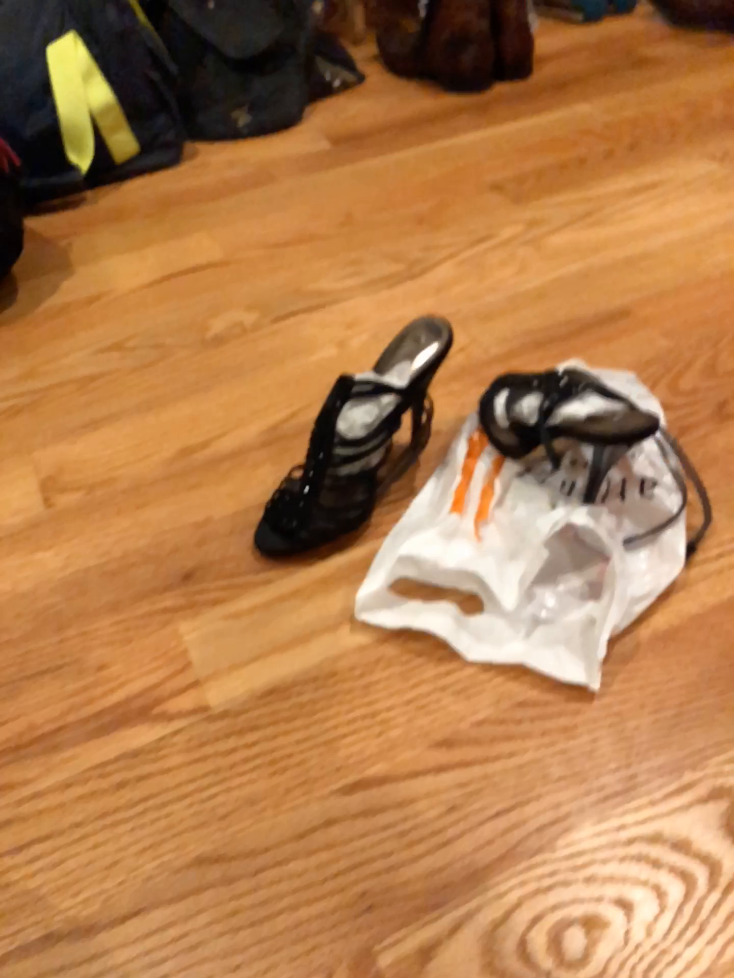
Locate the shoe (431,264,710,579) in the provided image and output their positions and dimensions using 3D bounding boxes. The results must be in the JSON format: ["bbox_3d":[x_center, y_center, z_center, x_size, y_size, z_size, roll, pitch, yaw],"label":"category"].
[{"bbox_3d":[0.135,-0.060,0.610,0.092,0.112,0.218,-17,43,-12],"label":"shoe"}]

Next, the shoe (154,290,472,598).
[{"bbox_3d":[-0.028,-0.041,0.610,0.218,0.112,0.090,-35,49,-28],"label":"shoe"}]
